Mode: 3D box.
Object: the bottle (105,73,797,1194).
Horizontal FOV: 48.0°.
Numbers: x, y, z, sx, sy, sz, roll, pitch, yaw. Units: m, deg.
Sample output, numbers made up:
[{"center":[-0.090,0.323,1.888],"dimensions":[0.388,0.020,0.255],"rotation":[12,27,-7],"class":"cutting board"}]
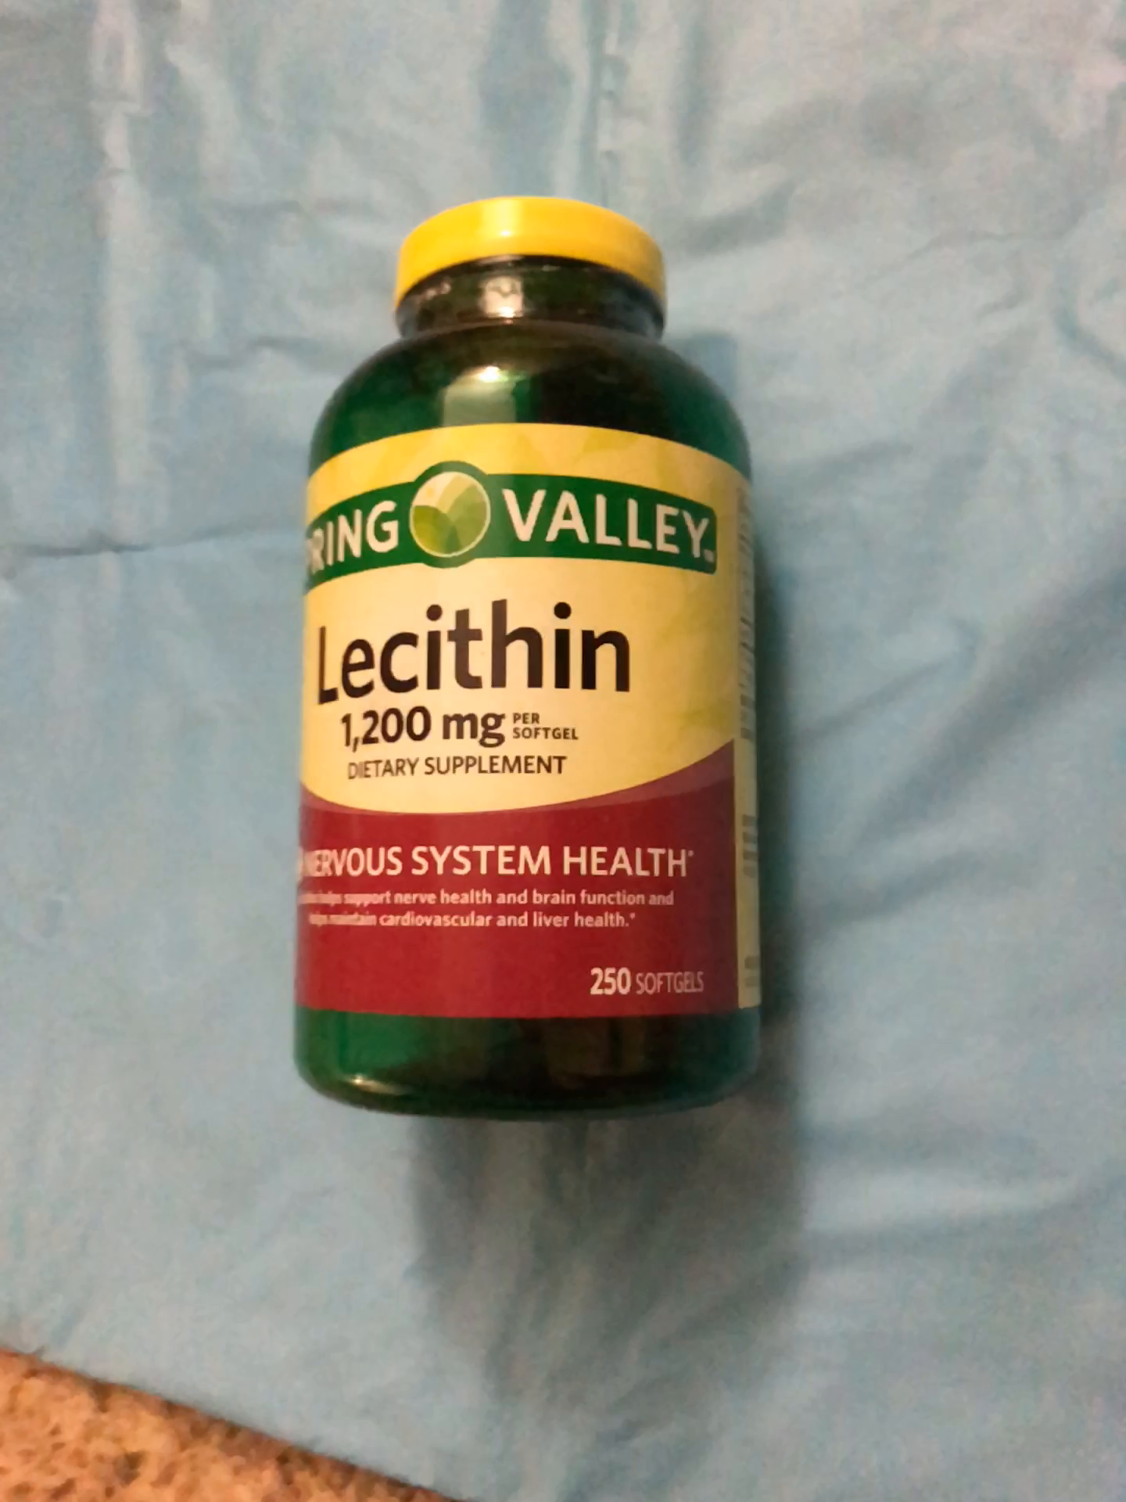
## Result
[{"center":[-0.016,-0.015,0.251],"dimensions":[0.100,0.090,0.170],"rotation":[-3,83,26],"class":"bottle"}]
